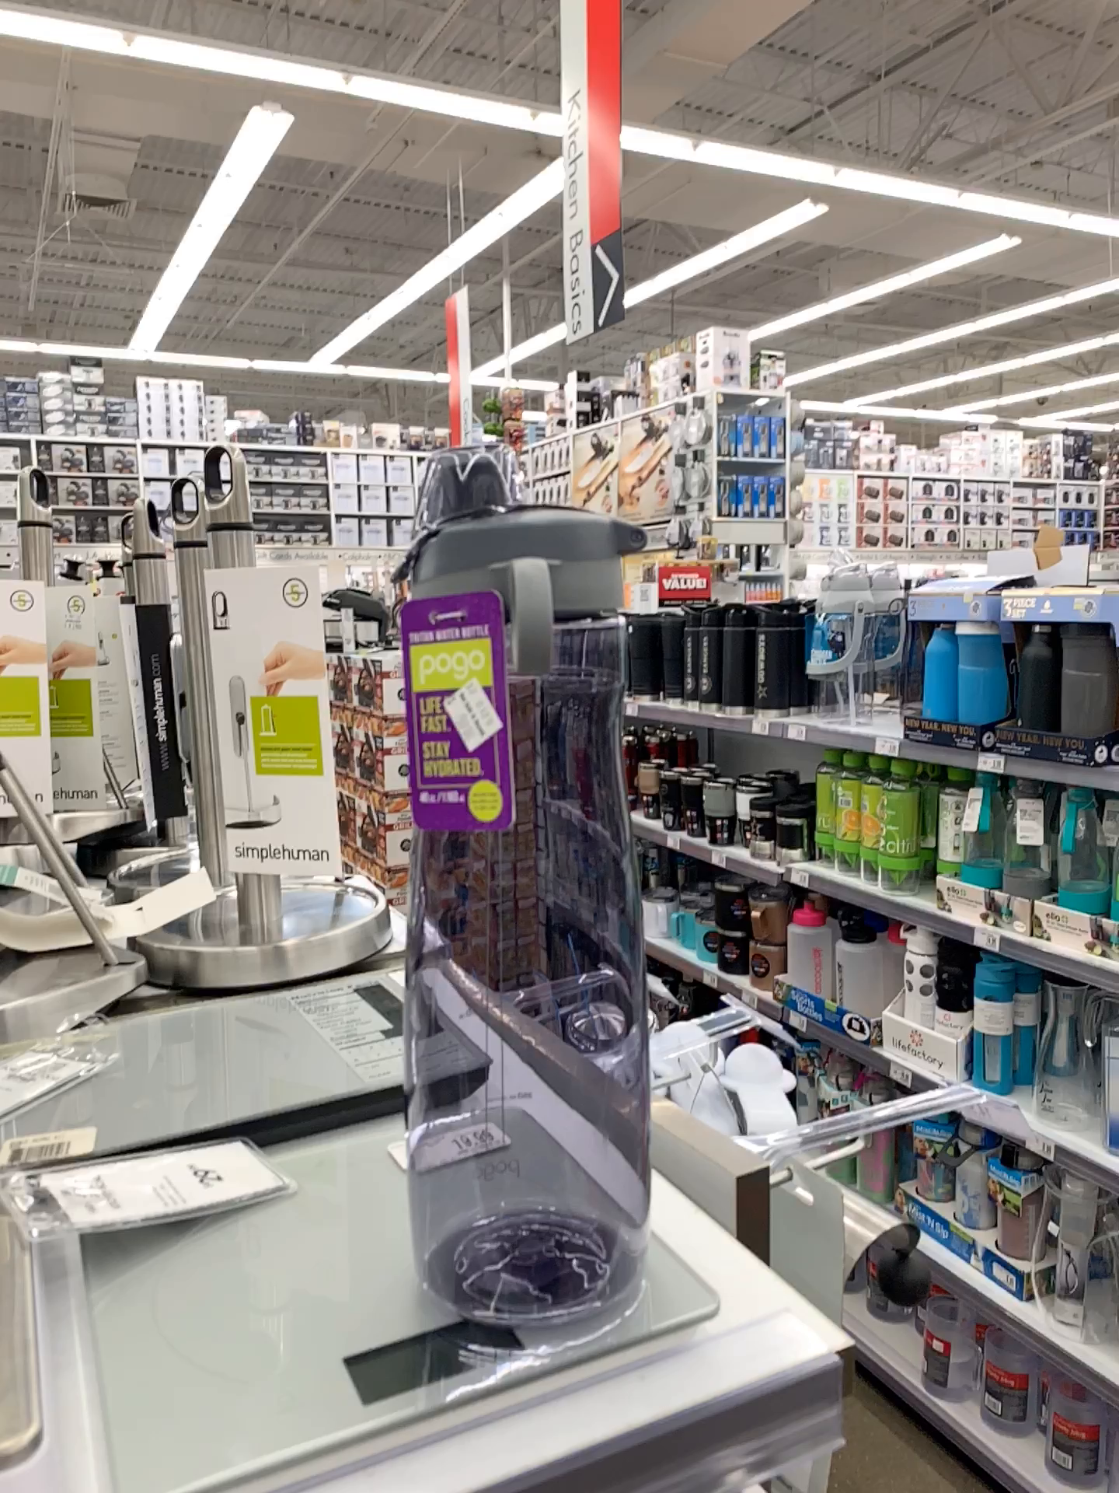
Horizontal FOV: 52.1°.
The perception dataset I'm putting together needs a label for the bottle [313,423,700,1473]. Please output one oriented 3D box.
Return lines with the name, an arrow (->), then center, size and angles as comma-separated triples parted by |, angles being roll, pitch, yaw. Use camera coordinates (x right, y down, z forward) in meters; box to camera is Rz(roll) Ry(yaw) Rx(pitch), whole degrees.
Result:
bottle -> -0.020, 0.057, 0.392 | 0.100, 0.309, 0.100 | -1, 7, 0
